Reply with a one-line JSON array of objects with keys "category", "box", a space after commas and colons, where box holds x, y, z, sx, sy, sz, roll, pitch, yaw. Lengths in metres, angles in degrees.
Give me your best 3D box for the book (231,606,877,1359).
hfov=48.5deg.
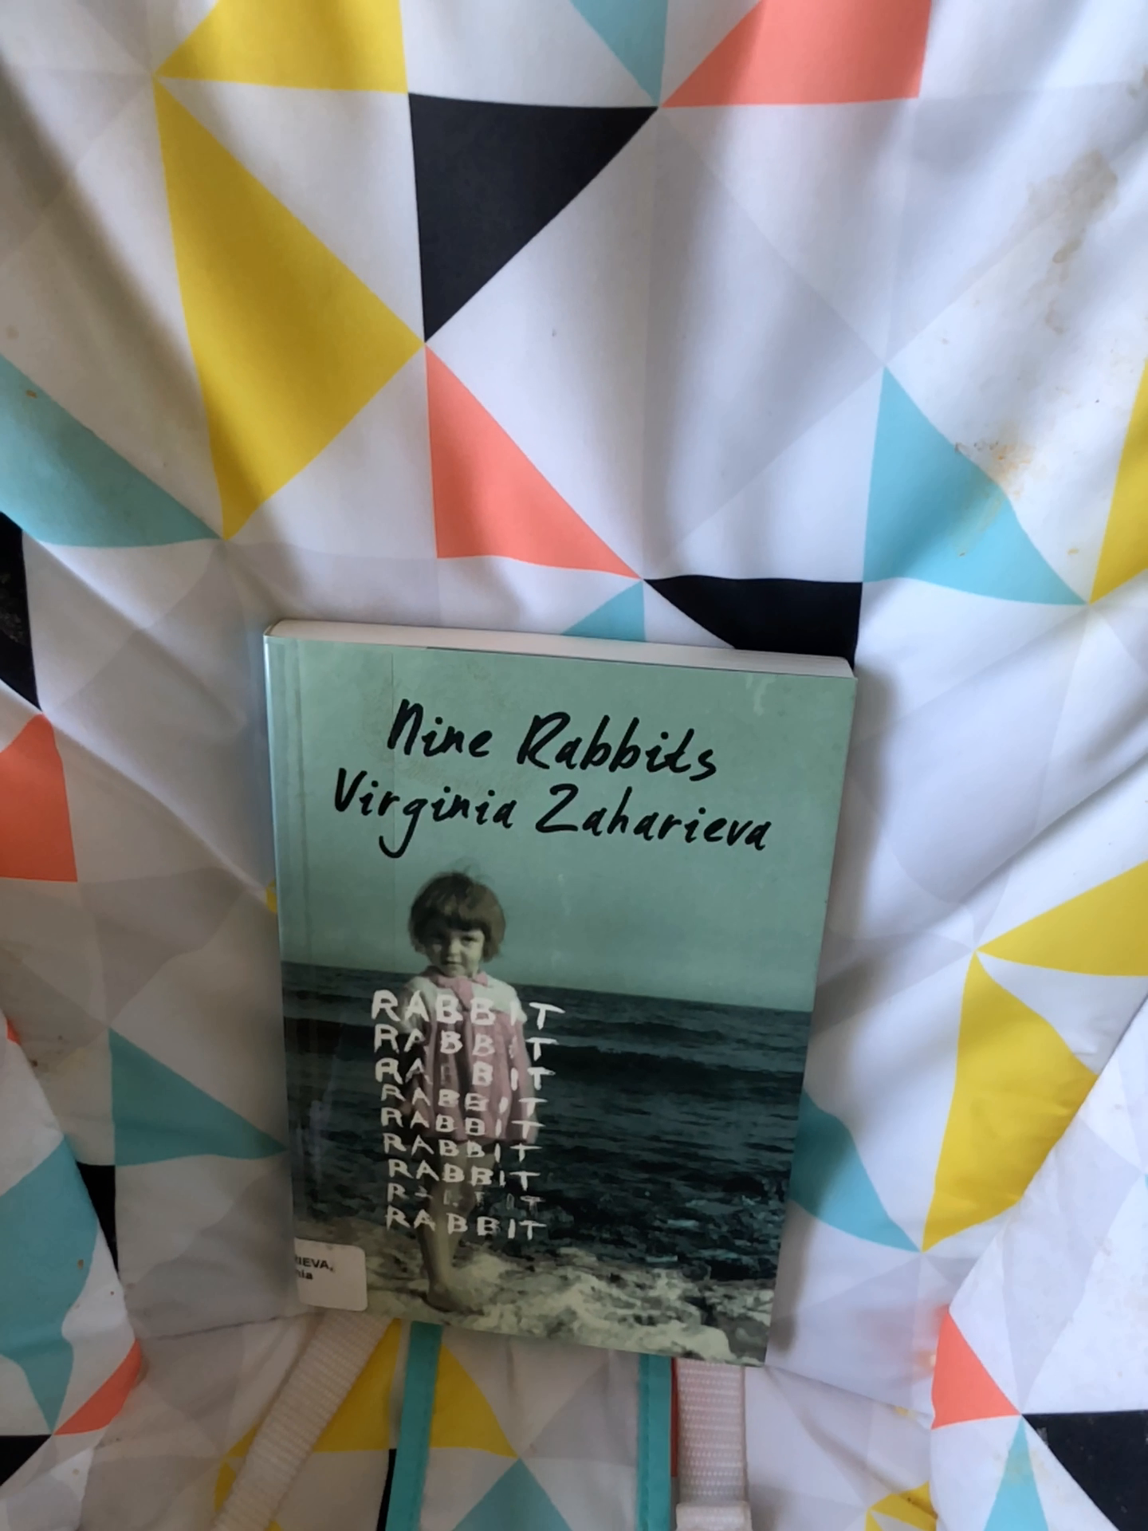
[{"category": "book", "box": [-0.009, 0.064, 0.334, 0.145, 0.025, 0.200, 4, 112, 3]}]
